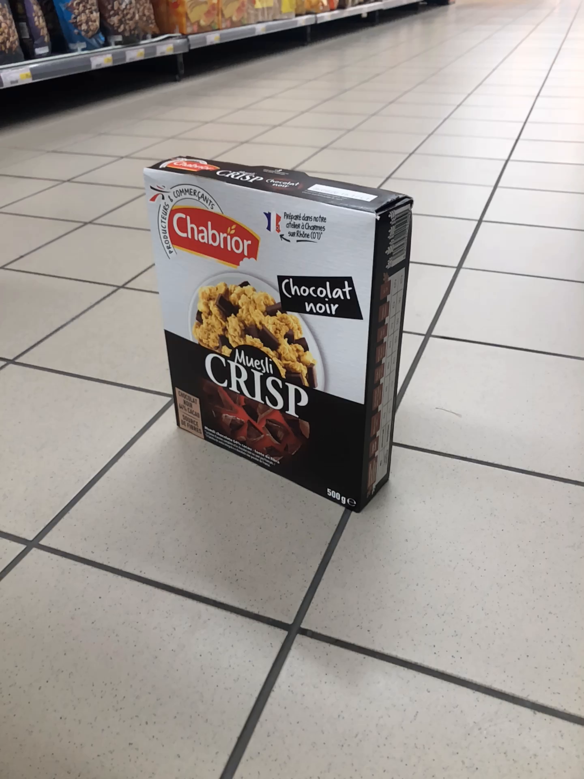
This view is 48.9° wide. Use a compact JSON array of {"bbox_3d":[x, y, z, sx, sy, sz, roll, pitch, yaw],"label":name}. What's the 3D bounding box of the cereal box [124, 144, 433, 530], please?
[{"bbox_3d":[-0.013,-0.041,0.466,0.200,0.229,0.060,21,38,31],"label":"cereal box"}]
